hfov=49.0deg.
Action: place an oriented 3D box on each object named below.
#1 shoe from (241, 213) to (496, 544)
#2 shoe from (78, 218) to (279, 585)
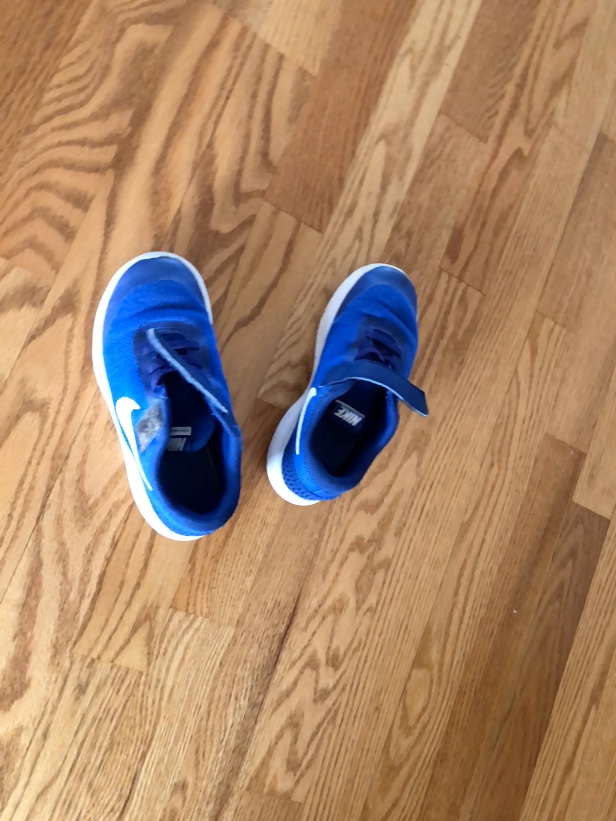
[{"bbox_3d":[0.045,-0.023,0.519,0.093,0.092,0.214,26,79,-21],"label":"shoe"},{"bbox_3d":[-0.090,-0.009,0.453,0.093,0.092,0.214,-6,92,-23],"label":"shoe"}]
